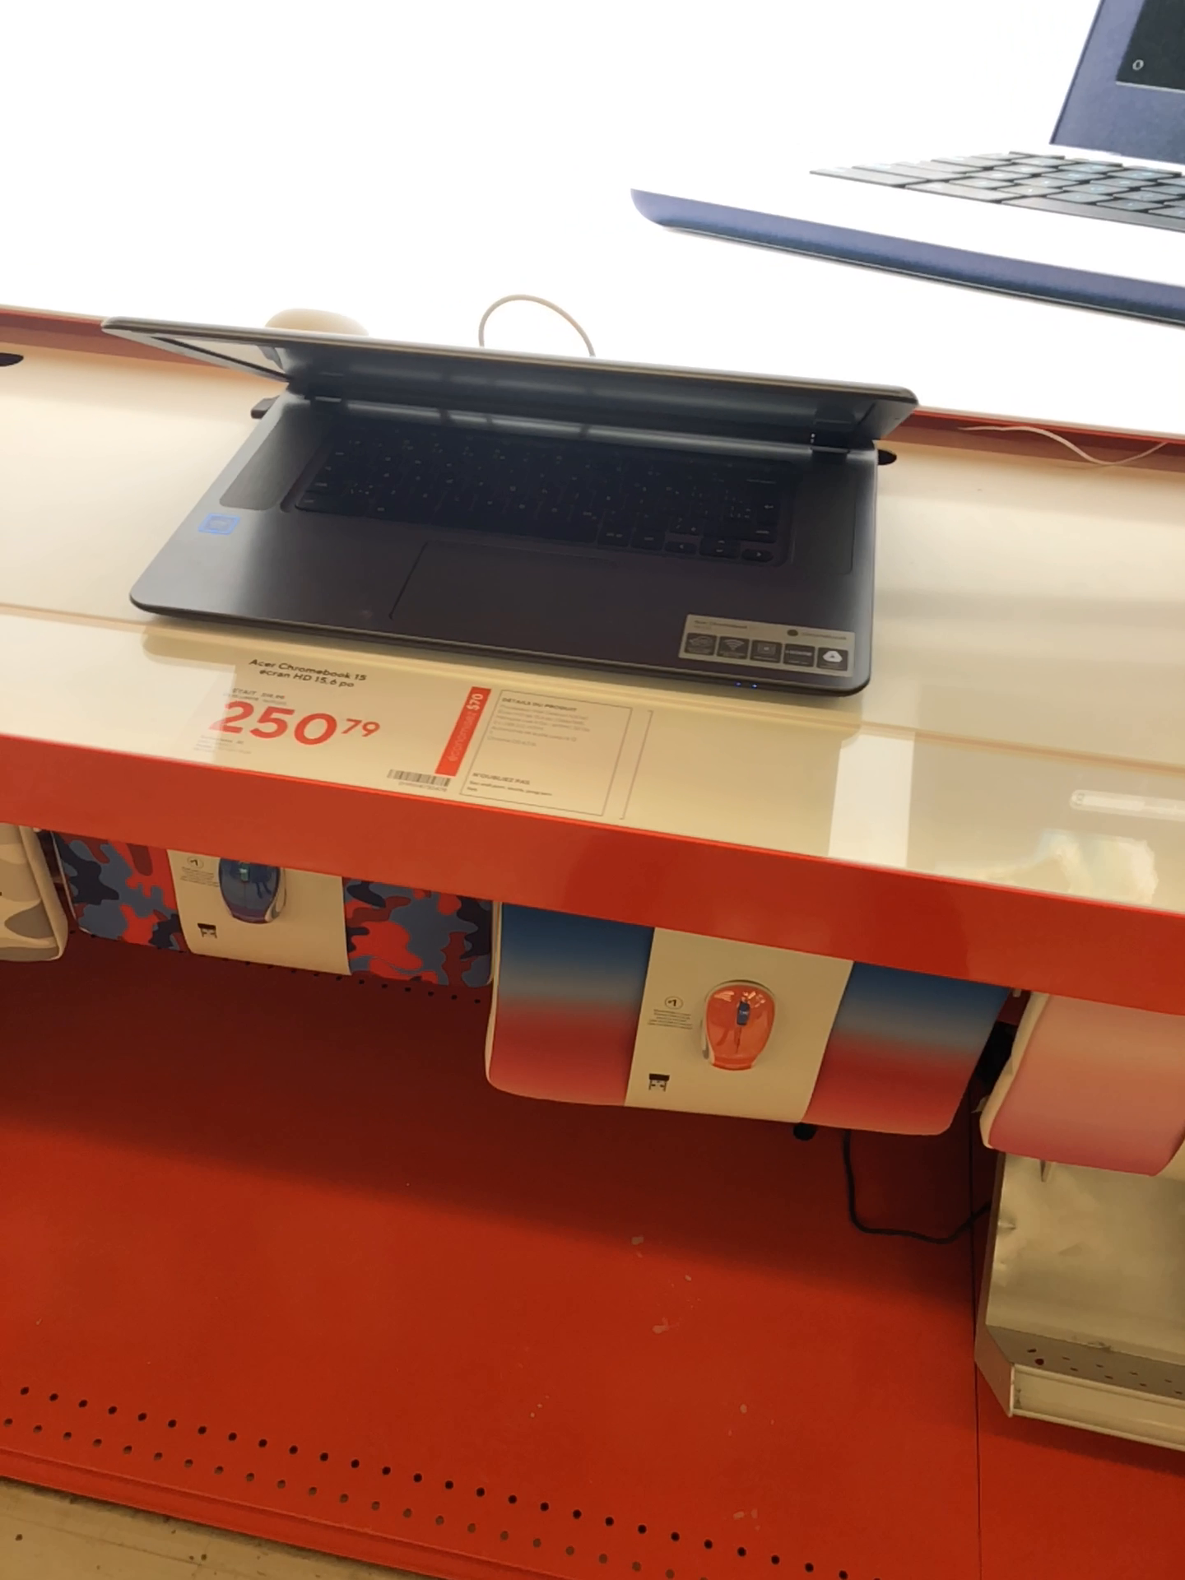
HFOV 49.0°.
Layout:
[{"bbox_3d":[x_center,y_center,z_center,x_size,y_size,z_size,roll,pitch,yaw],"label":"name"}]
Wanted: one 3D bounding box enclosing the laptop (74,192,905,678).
[{"bbox_3d":[-0.032,-0.200,0.682,0.363,0.122,0.238,7,42,6],"label":"laptop"}]
